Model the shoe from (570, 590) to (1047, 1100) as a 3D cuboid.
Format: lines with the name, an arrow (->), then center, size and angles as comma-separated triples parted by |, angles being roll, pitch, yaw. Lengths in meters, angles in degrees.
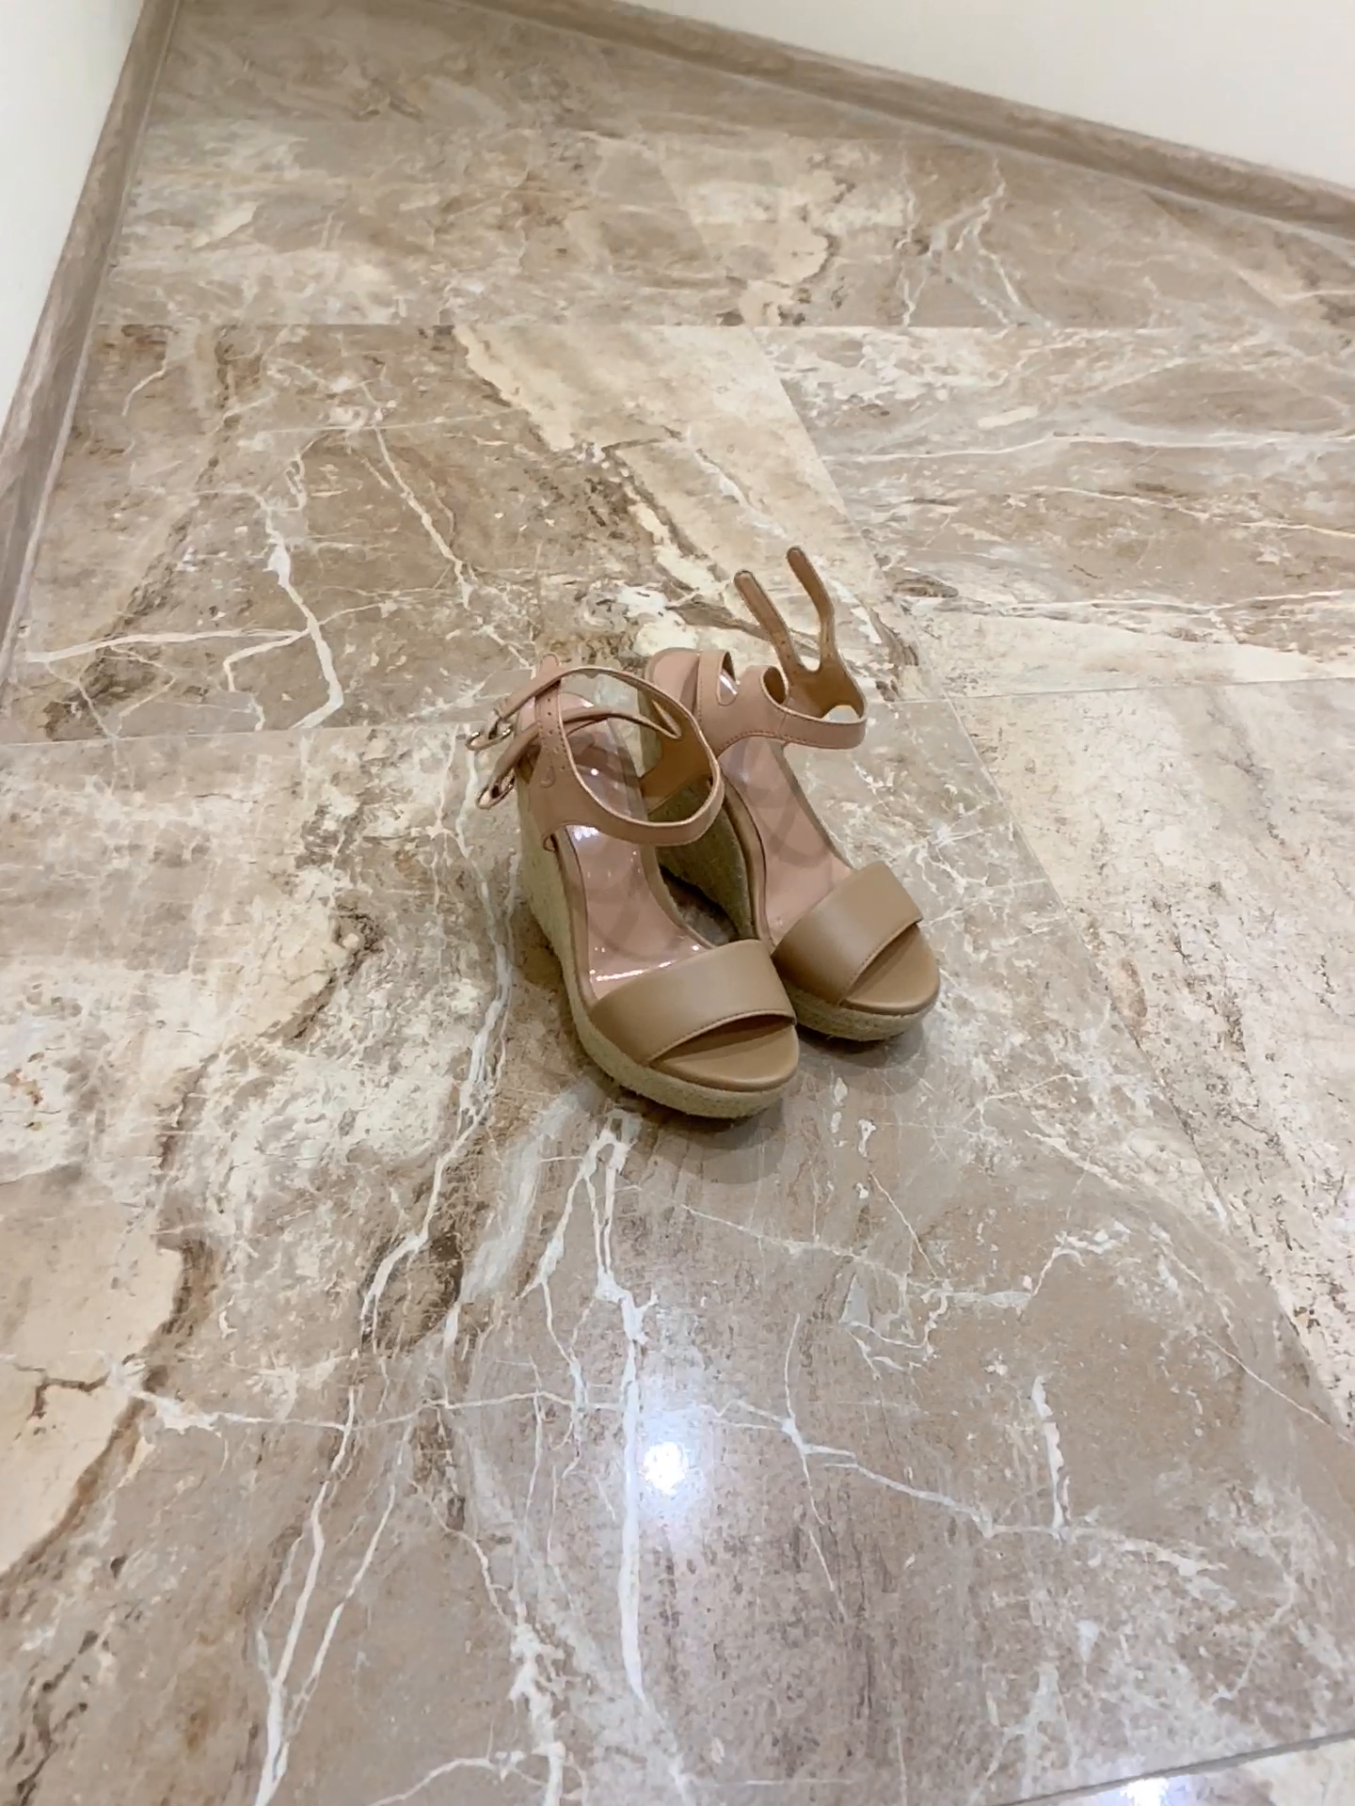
shoe -> 0.050, -0.034, 0.668 | 0.090, 0.129, 0.211 | -28, 54, -31

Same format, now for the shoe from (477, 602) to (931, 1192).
shoe -> -0.002, -0.009, 0.627 | 0.090, 0.149, 0.211 | -20, 50, -25
